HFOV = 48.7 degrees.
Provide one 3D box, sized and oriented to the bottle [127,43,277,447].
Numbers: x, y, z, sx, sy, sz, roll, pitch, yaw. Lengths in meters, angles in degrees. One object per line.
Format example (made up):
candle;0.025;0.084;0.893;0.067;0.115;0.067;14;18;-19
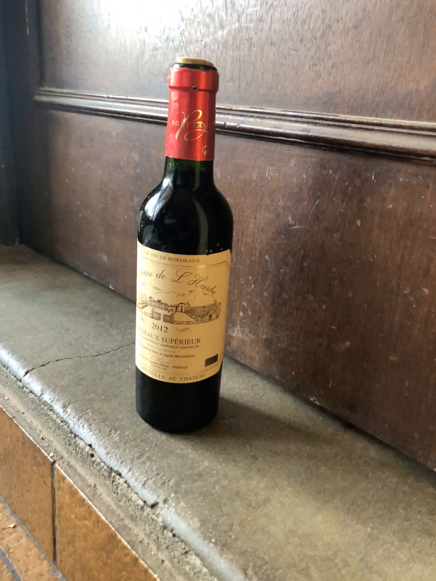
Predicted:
bottle;-0.013;-0.022;0.313;0.070;0.239;0.060;8;21;10
